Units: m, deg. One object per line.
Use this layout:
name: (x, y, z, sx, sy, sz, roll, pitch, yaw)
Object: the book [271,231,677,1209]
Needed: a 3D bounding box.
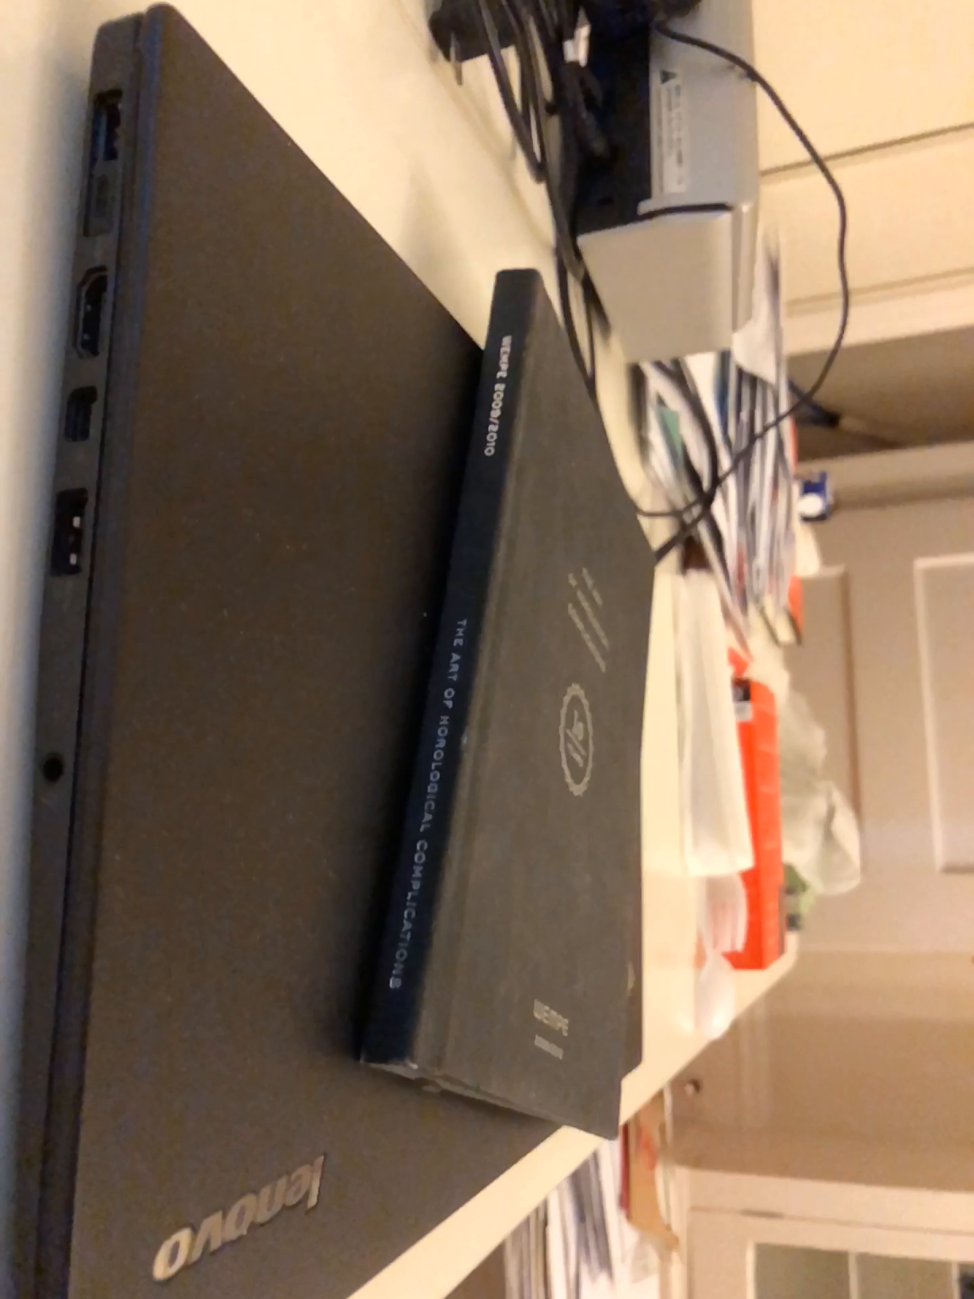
book: (0.018, 0.030, 0.305, 0.170, 0.030, 0.220, 52, 39, -55)
